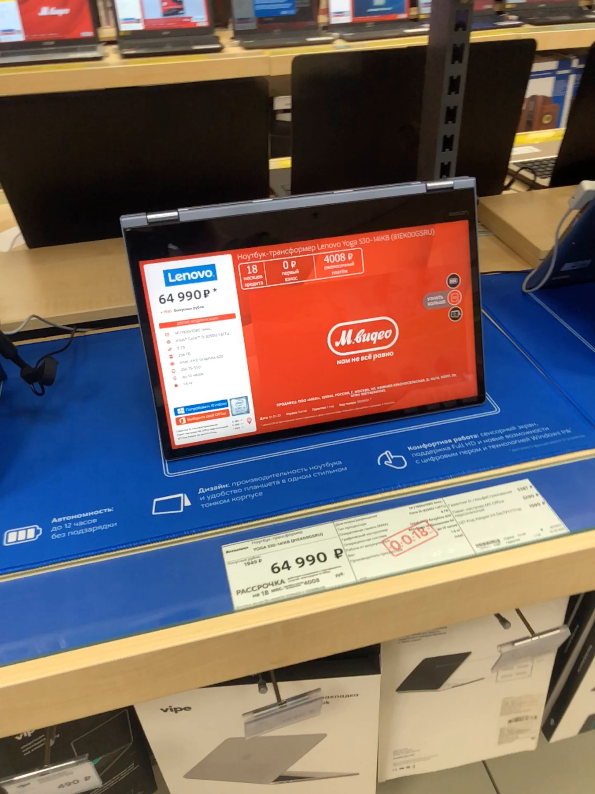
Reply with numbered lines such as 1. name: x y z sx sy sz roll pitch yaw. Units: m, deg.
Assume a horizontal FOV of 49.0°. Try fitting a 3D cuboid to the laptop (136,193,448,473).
1. laptop: -0.006 -0.050 0.775 0.305 0.158 0.221 -10 -1 -14
